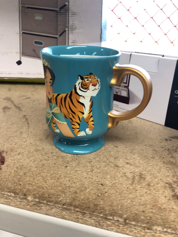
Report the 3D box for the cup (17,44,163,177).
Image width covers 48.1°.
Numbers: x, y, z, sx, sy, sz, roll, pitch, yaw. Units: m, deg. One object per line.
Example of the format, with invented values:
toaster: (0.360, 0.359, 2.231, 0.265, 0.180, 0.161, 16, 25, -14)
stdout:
cup: (0.005, -0.024, 0.257, 0.140, 0.120, 0.099, 13, 28, 24)
